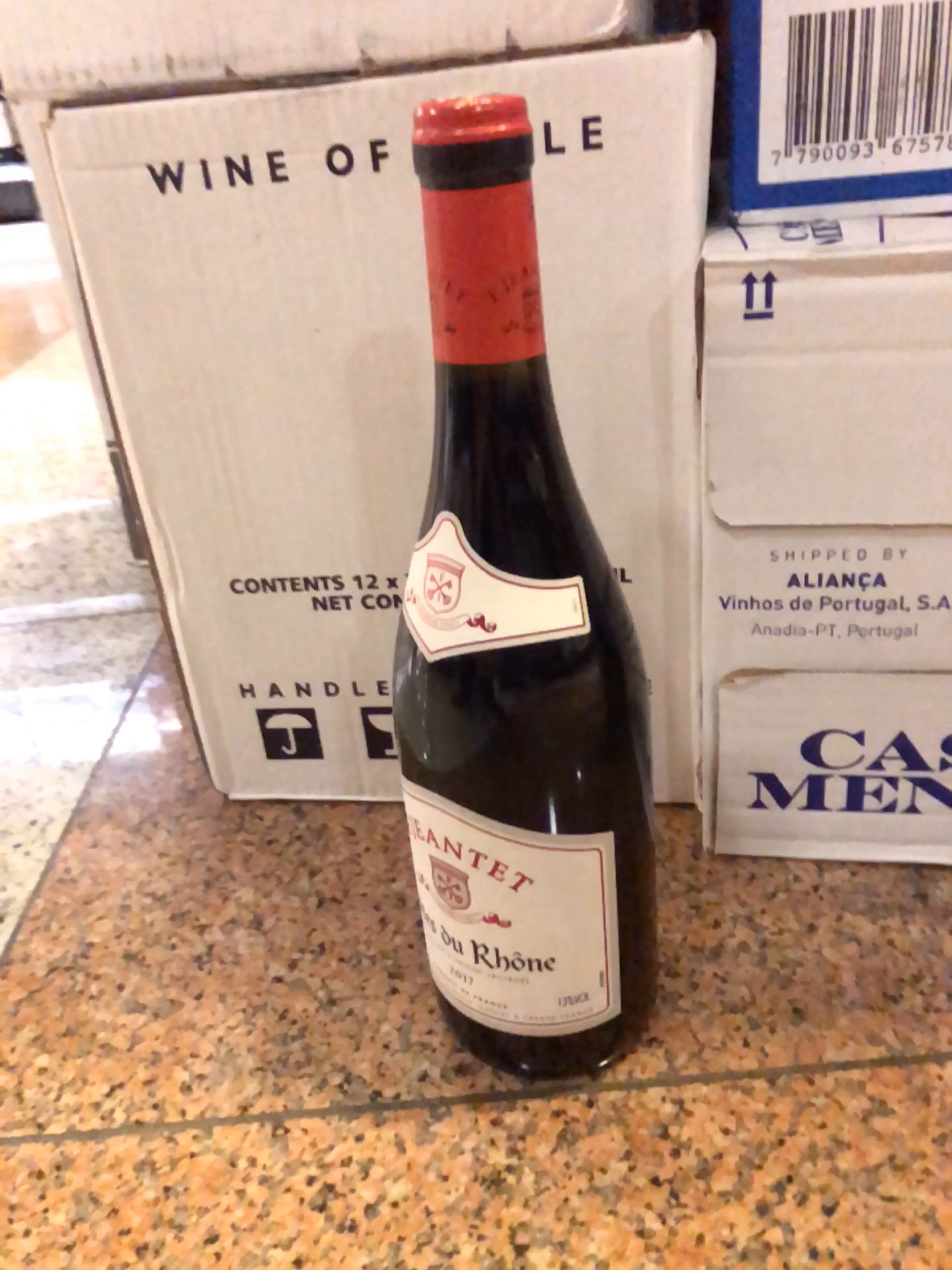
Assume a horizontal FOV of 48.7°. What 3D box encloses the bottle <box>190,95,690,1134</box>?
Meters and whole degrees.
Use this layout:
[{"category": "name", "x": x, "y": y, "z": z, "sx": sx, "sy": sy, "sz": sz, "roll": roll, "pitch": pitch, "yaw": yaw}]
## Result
[{"category": "bottle", "x": 0.005, "y": 0.003, "z": 0.320, "sx": 0.090, "sy": 0.288, "sz": 0.080, "roll": 15, "pitch": 34, "yaw": 35}]
